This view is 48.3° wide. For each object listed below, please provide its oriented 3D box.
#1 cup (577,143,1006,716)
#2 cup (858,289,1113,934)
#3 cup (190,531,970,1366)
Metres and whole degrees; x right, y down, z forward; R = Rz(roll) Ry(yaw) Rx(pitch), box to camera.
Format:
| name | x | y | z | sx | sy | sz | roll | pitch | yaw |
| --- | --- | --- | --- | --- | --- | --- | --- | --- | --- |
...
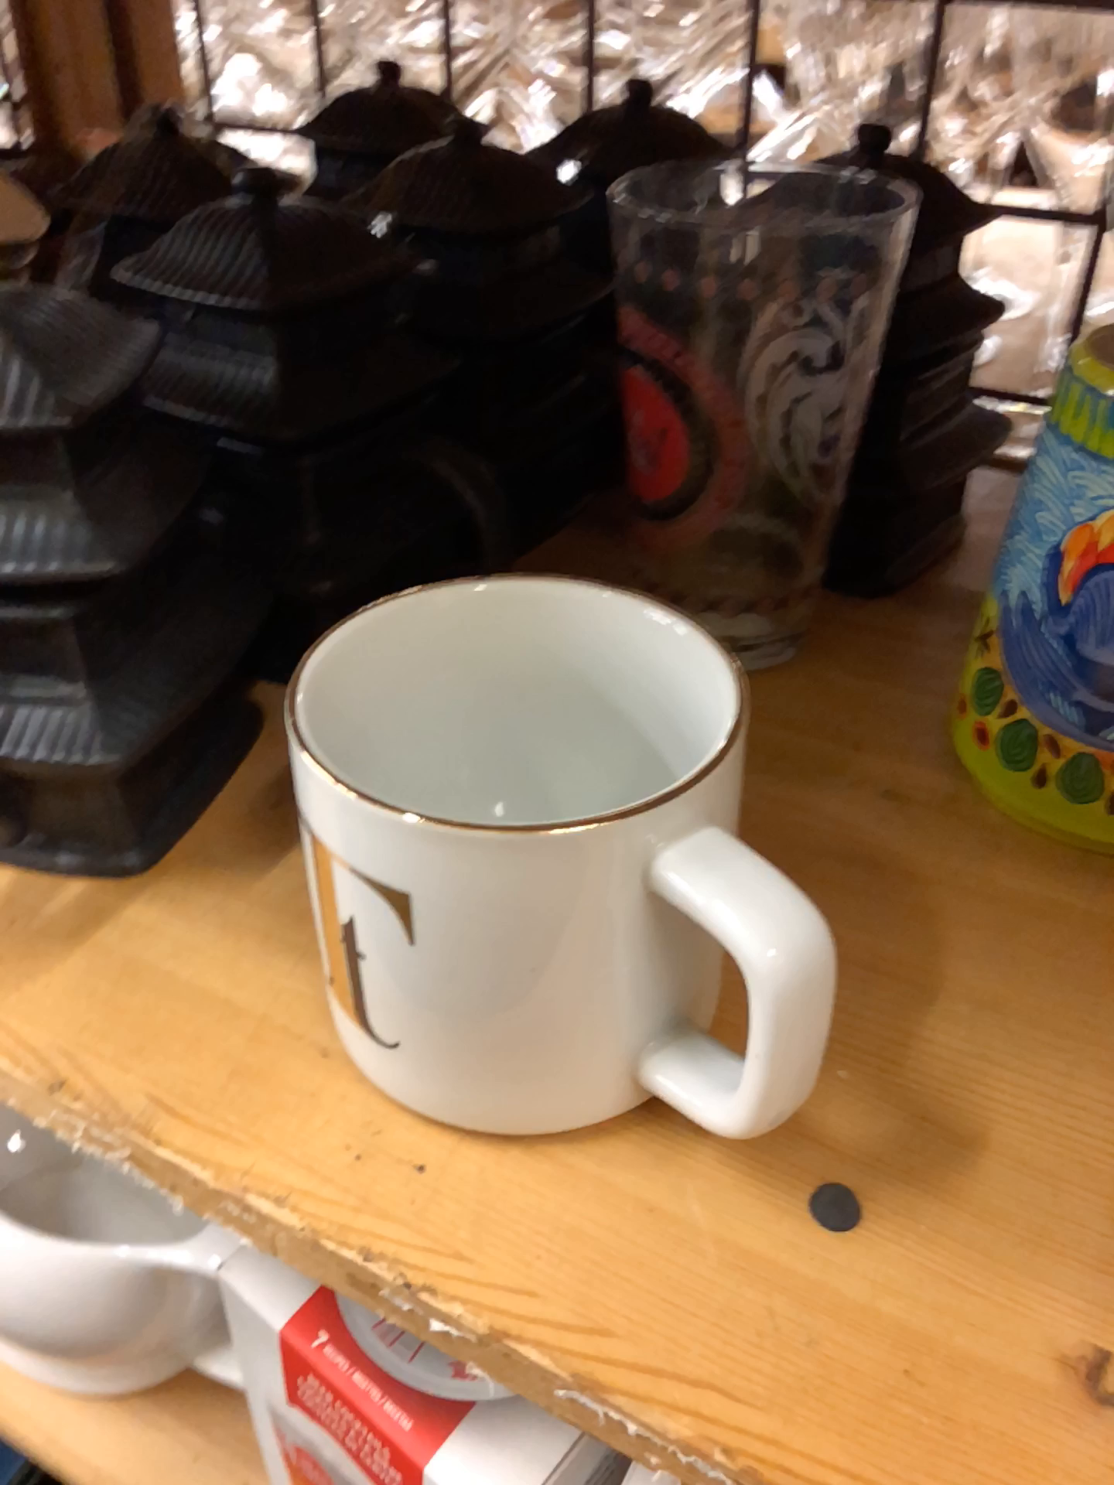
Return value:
| name | x | y | z | sx | sy | sz | roll | pitch | yaw |
| --- | --- | --- | --- | --- | --- | --- | --- | --- | --- |
| cup | 0.059 | -0.096 | 0.373 | 0.078 | 0.134 | 0.093 | -13 | 37 | -16 |
| cup | 0.137 | -0.035 | 0.288 | 0.093 | 0.104 | 0.079 | 24 | 42 | 30 |
| cup | -0.002 | 0.029 | 0.251 | 0.088 | 0.084 | 0.123 | -22 | 40 | -27 |
